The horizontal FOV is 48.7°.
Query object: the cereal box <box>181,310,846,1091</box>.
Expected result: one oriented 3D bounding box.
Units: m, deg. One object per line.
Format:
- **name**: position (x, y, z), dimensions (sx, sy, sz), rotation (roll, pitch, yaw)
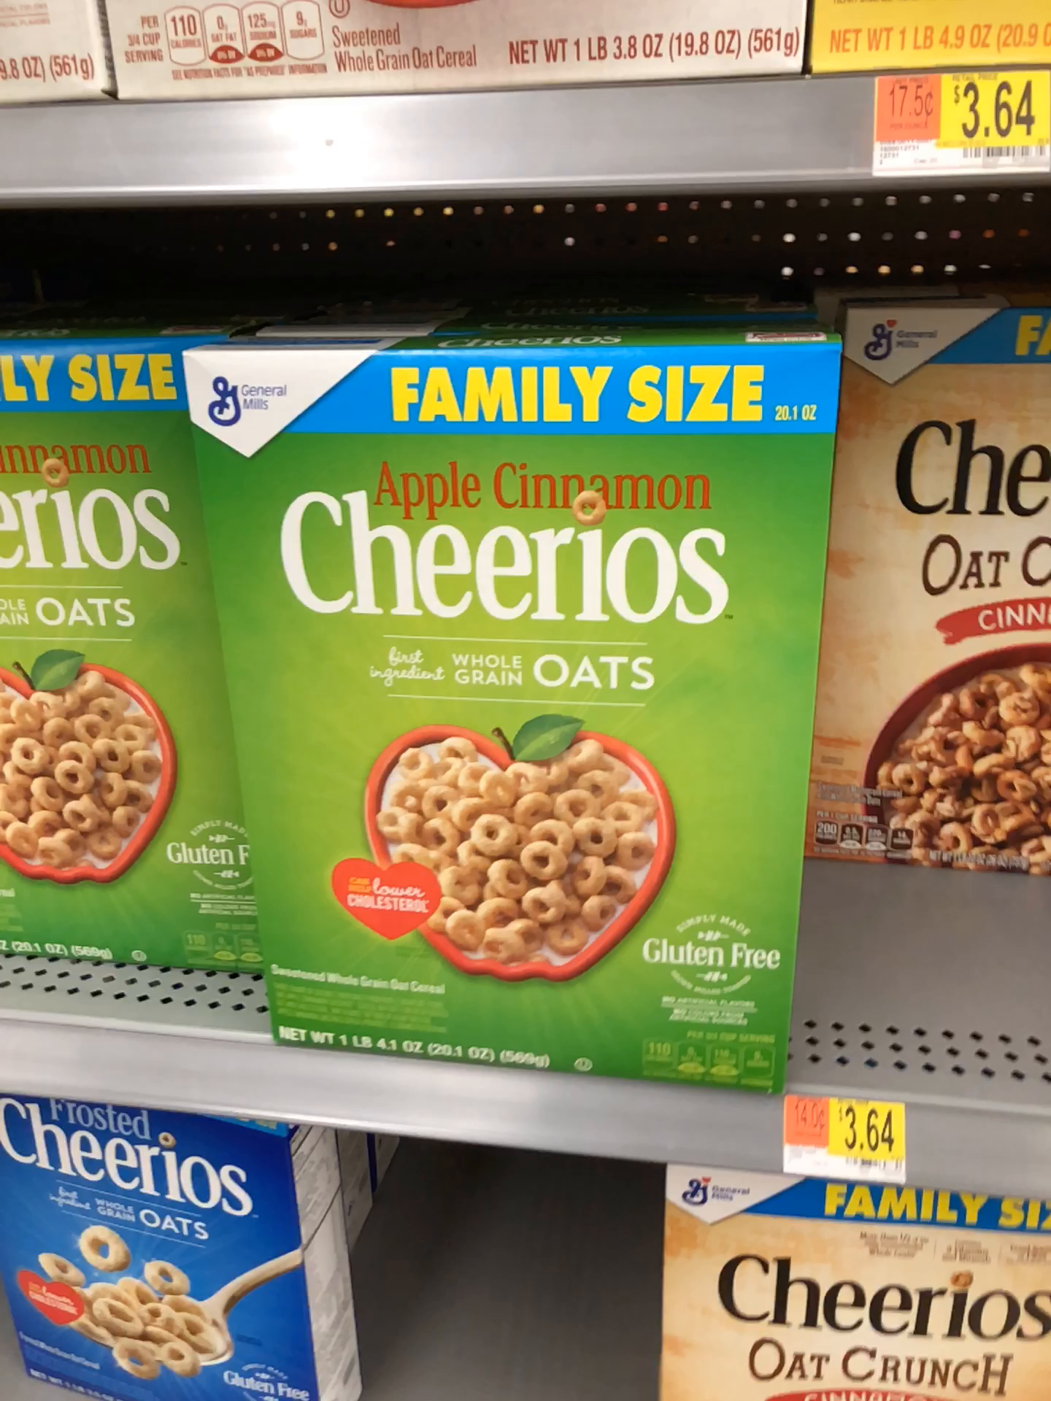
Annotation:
- **cereal box**: position (-0.002, 0.004, 0.479), dimensions (0.230, 0.309, 0.060), rotation (3, 21, 9)
